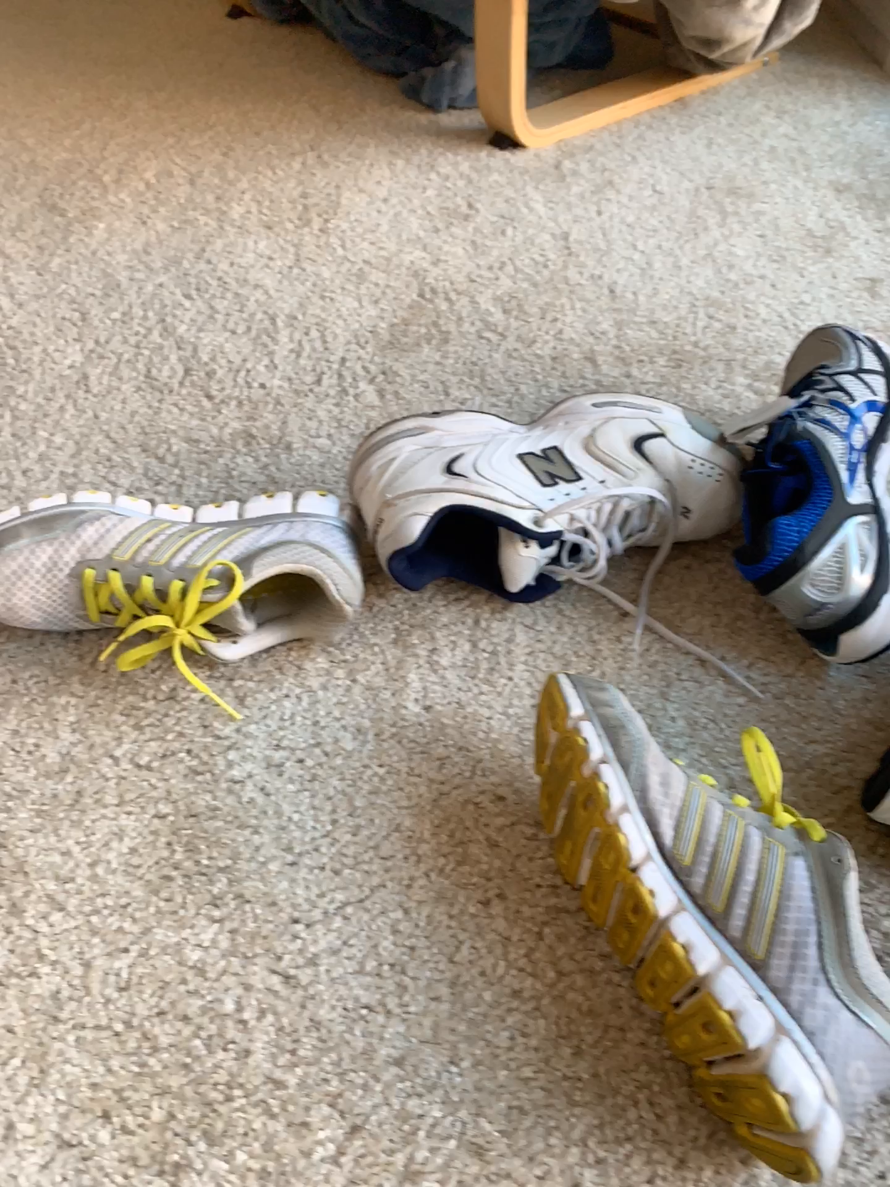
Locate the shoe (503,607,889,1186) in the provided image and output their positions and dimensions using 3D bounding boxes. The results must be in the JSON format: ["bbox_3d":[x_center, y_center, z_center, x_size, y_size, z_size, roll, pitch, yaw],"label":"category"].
[{"bbox_3d":[0.126,0.125,0.410,0.100,0.090,0.221,-14,50,-21],"label":"shoe"}]

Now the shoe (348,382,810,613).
[{"bbox_3d":[0.079,-0.067,0.622,0.280,0.099,0.101,-4,51,-8],"label":"shoe"}]

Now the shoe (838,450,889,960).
[{"bbox_3d":[0.351,0.045,0.527,0.120,0.090,0.281,32,53,20],"label":"shoe"}]

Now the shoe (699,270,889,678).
[{"bbox_3d":[0.259,-0.091,0.632,0.120,0.090,0.261,31,47,-15],"label":"shoe"}]

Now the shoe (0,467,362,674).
[{"bbox_3d":[-0.168,-0.016,0.551,0.230,0.080,0.080,-3,40,-7],"label":"shoe"}]
